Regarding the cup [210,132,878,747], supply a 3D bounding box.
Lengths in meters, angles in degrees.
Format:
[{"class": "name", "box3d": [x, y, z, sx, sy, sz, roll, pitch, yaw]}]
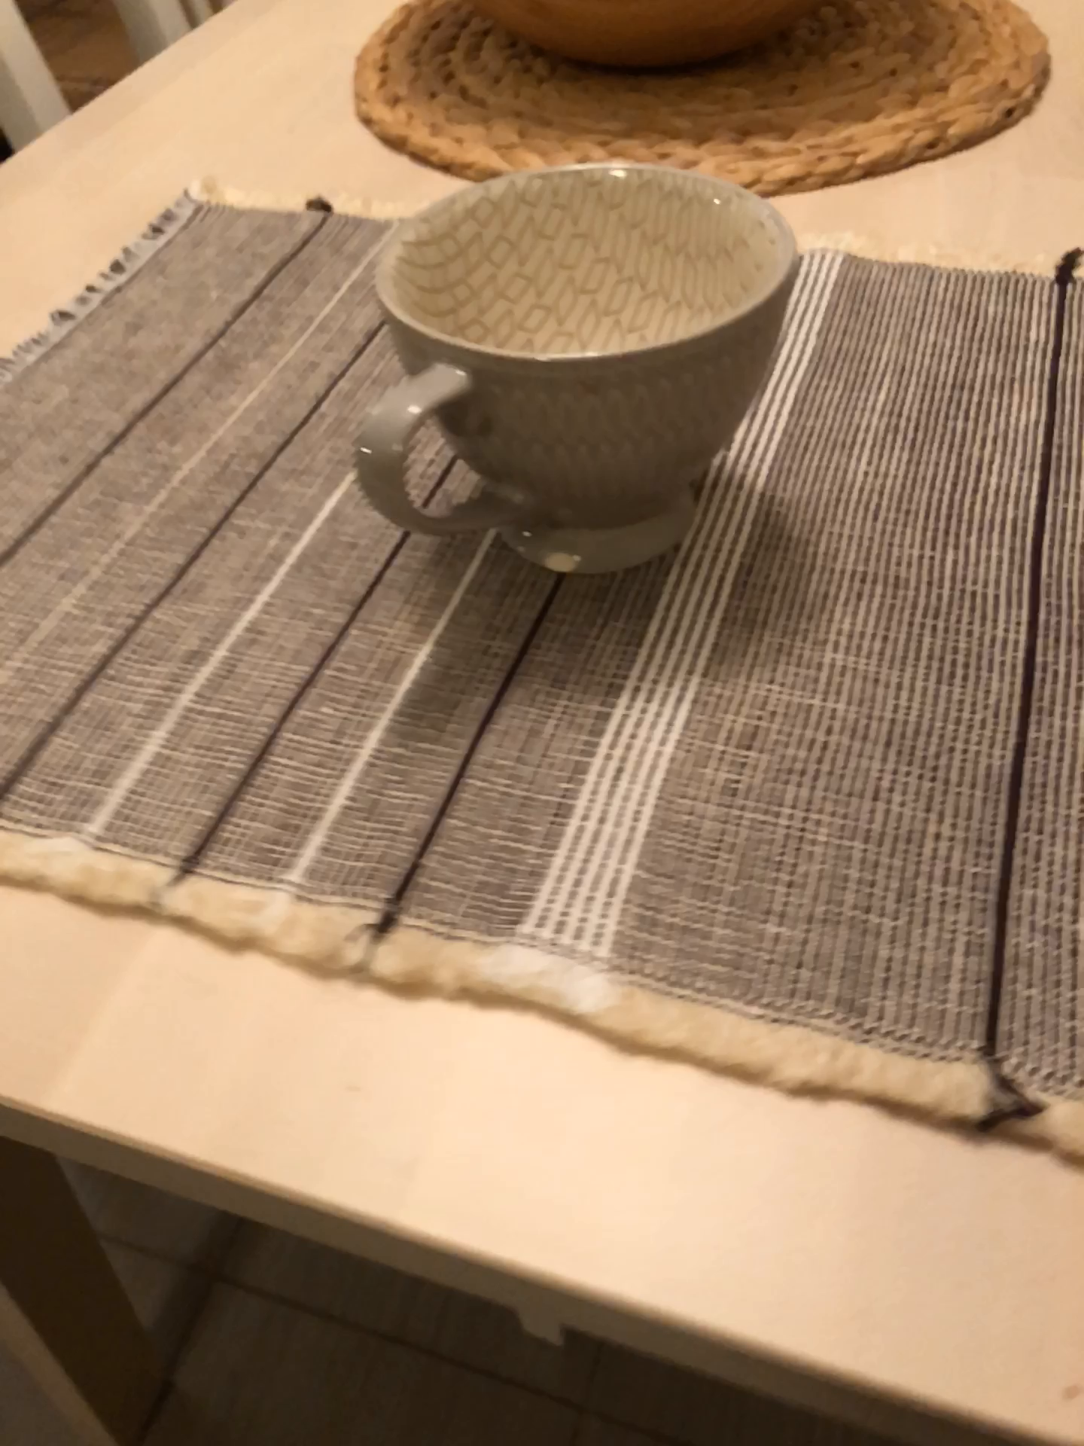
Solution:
[{"class": "cup", "box3d": [0.009, -0.089, 0.340, 0.110, 0.080, 0.151, 22, 52, 23]}]
